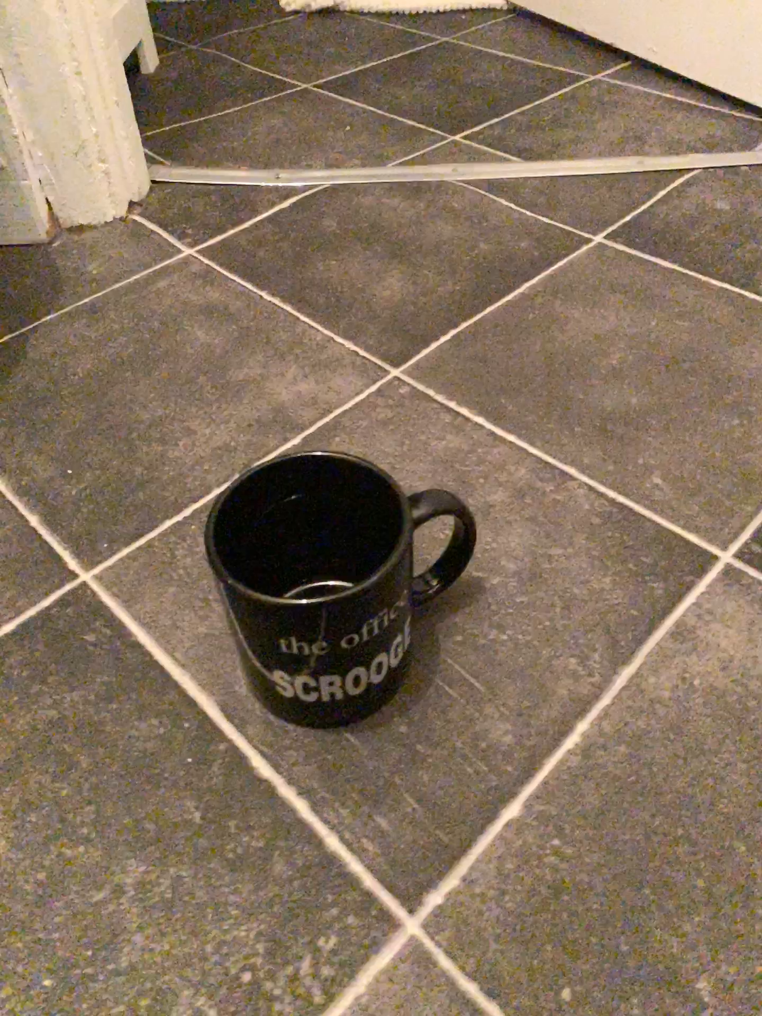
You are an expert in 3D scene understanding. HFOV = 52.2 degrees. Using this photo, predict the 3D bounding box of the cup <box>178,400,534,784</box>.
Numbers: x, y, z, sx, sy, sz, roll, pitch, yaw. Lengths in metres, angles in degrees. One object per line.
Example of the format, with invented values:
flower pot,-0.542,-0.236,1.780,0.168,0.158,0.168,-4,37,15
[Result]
cup,-0.010,0.037,0.347,0.117,0.115,0.081,-21,49,-17
